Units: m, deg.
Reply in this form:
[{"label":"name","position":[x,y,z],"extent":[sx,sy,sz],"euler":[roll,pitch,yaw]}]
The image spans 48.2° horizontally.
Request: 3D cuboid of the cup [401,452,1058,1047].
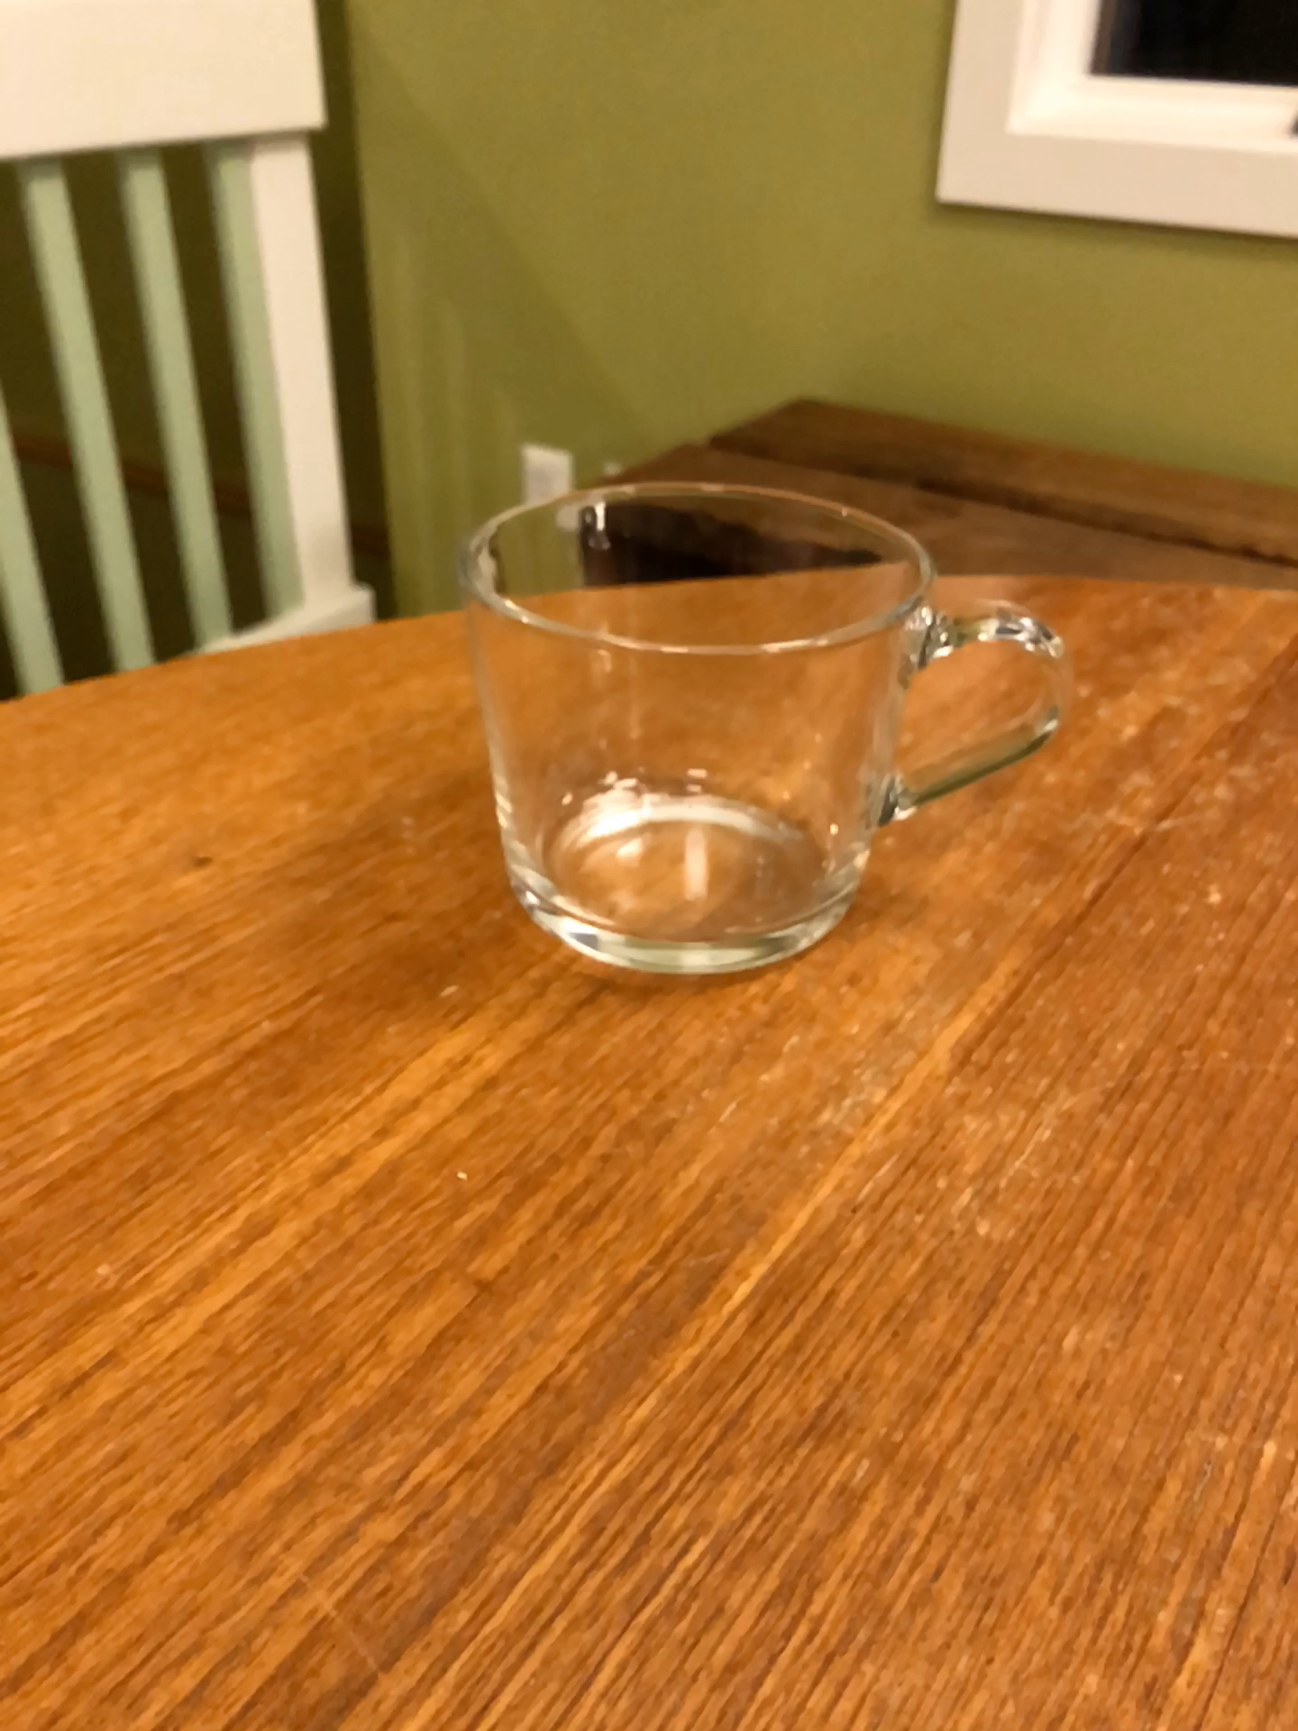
[{"label":"cup","position":[0.020,-0.032,0.329],"extent":[0.120,0.089,0.101],"euler":[5,32,7]}]
